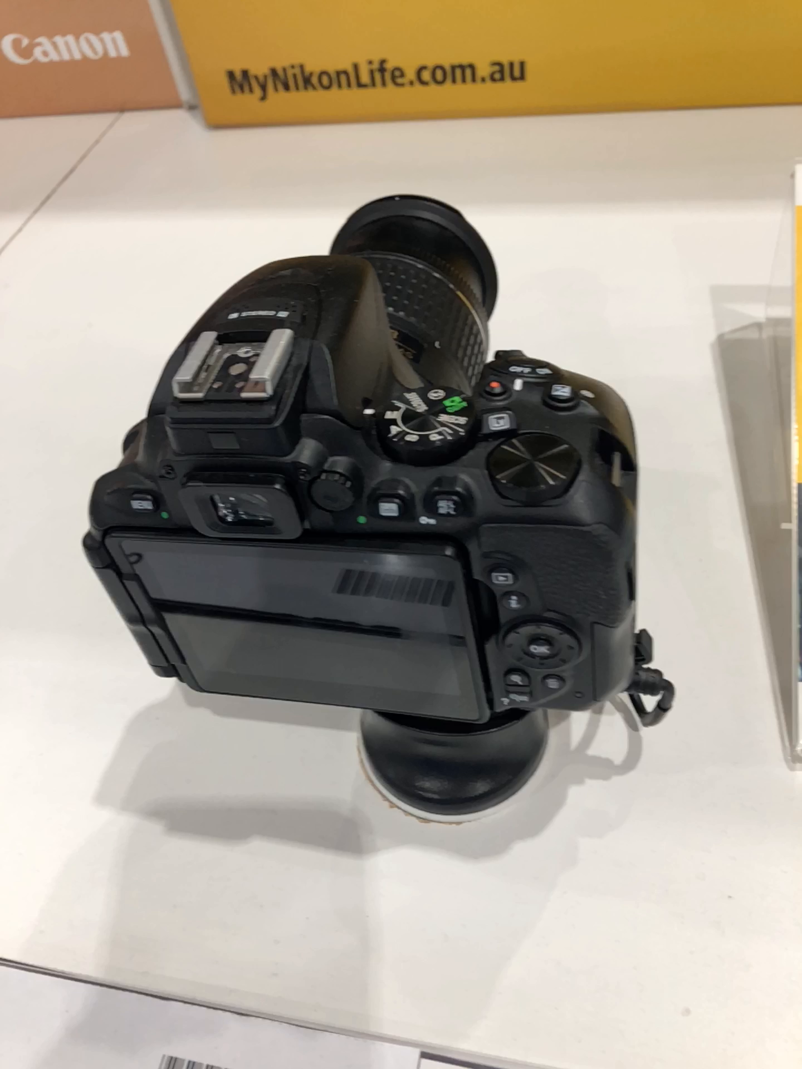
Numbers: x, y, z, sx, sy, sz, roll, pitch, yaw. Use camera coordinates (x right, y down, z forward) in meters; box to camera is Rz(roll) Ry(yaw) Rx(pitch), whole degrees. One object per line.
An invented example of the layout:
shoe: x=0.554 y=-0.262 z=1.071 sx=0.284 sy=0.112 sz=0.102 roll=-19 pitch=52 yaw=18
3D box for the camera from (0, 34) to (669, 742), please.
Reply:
camera: x=0.002 y=-0.048 z=0.245 sx=0.127 sy=0.097 sz=0.163 roll=4 pitch=50 yaw=14
